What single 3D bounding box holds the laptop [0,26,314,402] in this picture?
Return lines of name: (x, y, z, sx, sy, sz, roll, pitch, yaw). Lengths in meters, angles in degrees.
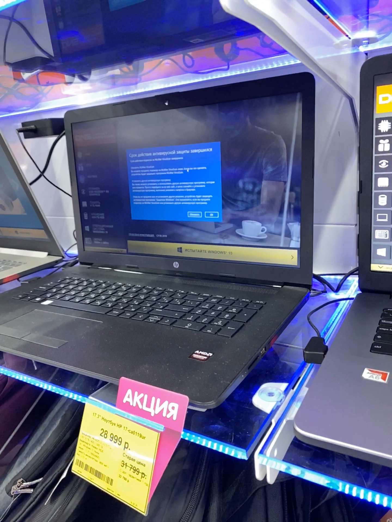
laptop: (-0.102, -0.072, 0.501, 0.420, 0.260, 0.294, 4, 17, 29)
